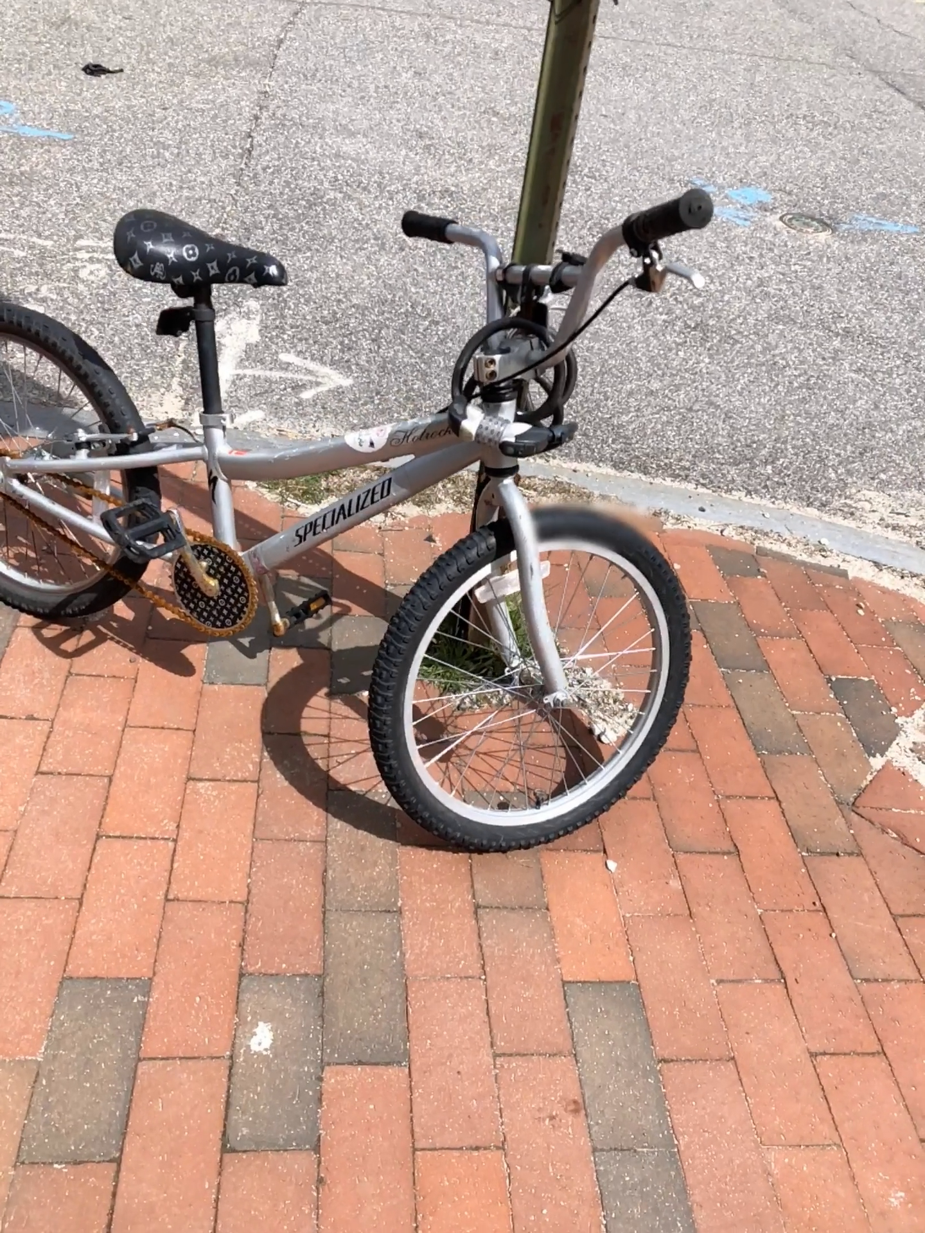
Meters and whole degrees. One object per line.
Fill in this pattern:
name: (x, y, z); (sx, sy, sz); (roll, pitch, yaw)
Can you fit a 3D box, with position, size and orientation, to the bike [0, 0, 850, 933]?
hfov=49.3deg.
bike: (-0.248, -0.295, 1.360); (1.208, 0.830, 0.720); (17, 38, 8)
